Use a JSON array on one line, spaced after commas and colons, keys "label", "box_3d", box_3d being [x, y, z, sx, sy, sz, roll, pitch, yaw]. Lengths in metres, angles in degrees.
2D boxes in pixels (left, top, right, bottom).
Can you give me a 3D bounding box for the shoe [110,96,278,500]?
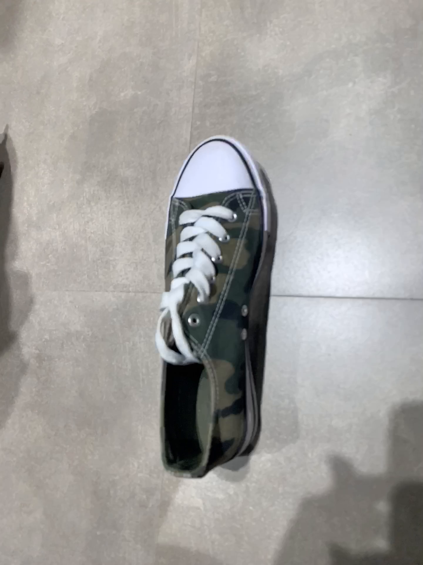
[{"label": "shoe", "box_3d": [-0.007, 0.008, 0.335, 0.099, 0.079, 0.266, -3, 80, 22]}]
